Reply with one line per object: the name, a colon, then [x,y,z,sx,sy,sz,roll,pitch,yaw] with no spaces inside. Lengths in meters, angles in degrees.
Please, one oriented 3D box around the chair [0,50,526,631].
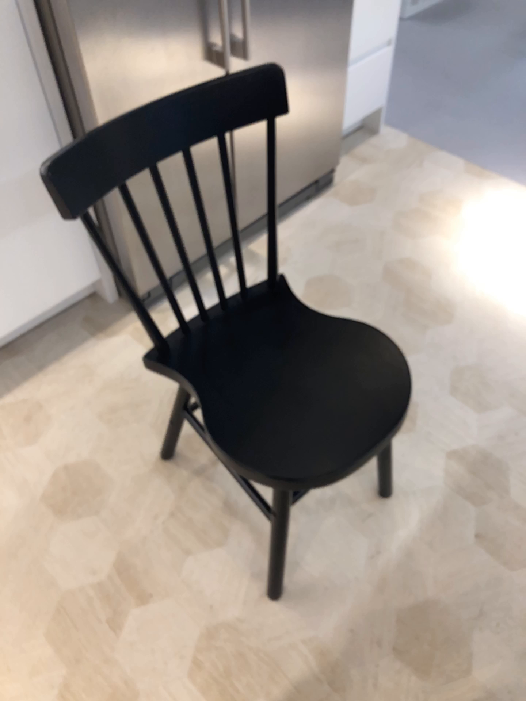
chair: [0.000,0.012,1.024,0.481,0.745,0.512,-33,57,-24]
